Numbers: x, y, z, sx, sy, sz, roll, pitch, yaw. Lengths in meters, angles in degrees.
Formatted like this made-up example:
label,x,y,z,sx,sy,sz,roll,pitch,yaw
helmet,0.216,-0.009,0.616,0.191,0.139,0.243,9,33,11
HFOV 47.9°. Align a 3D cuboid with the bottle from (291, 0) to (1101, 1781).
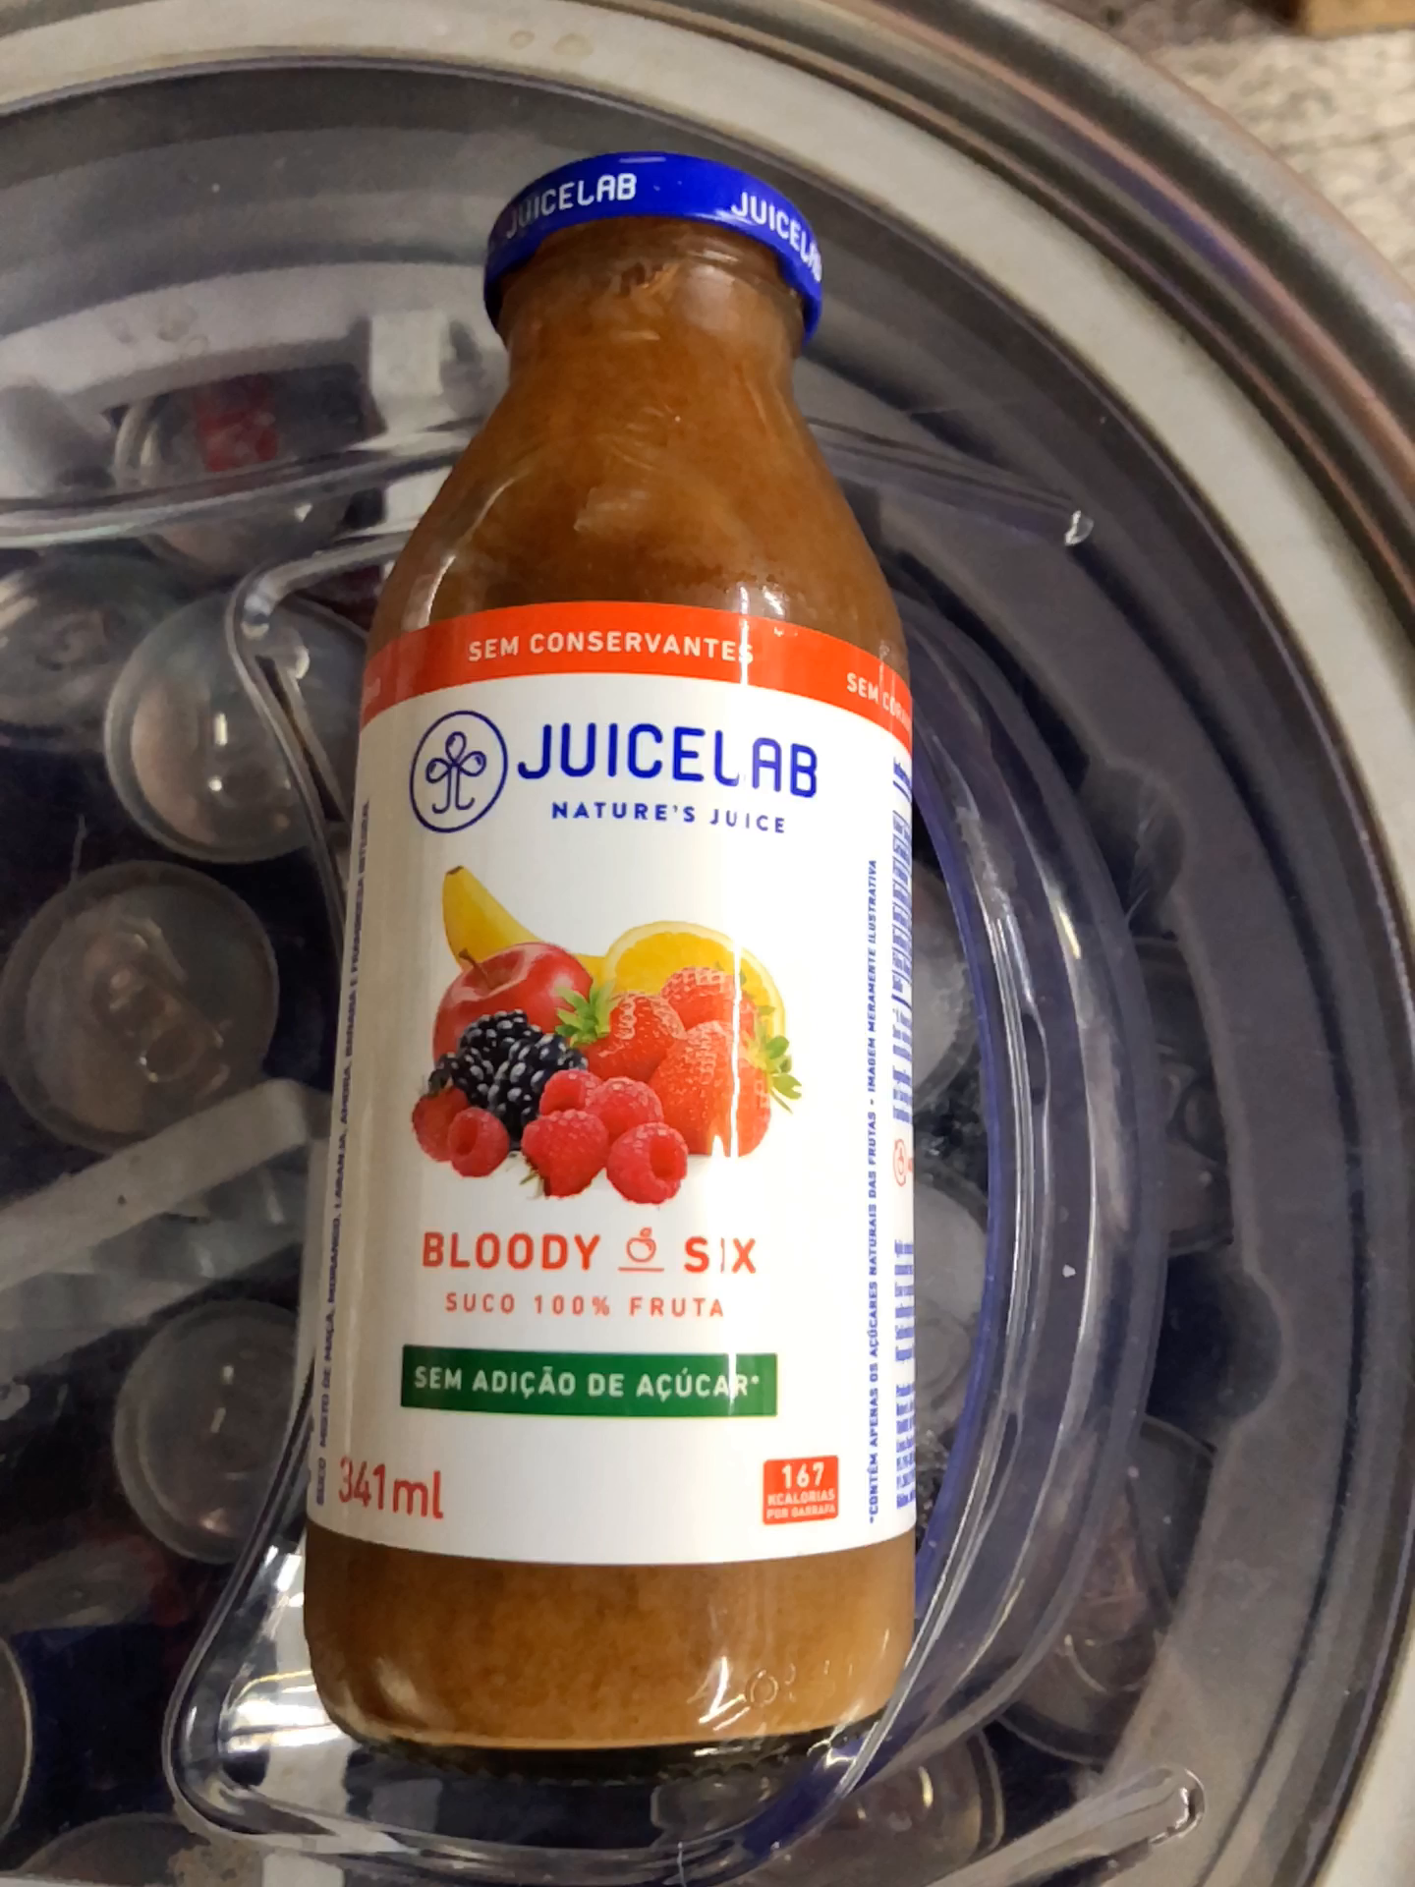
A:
label,x,y,z,sx,sy,sz,roll,pitch,yaw
bottle,-0.001,-0.014,0.188,0.070,0.060,0.190,2,77,-4
